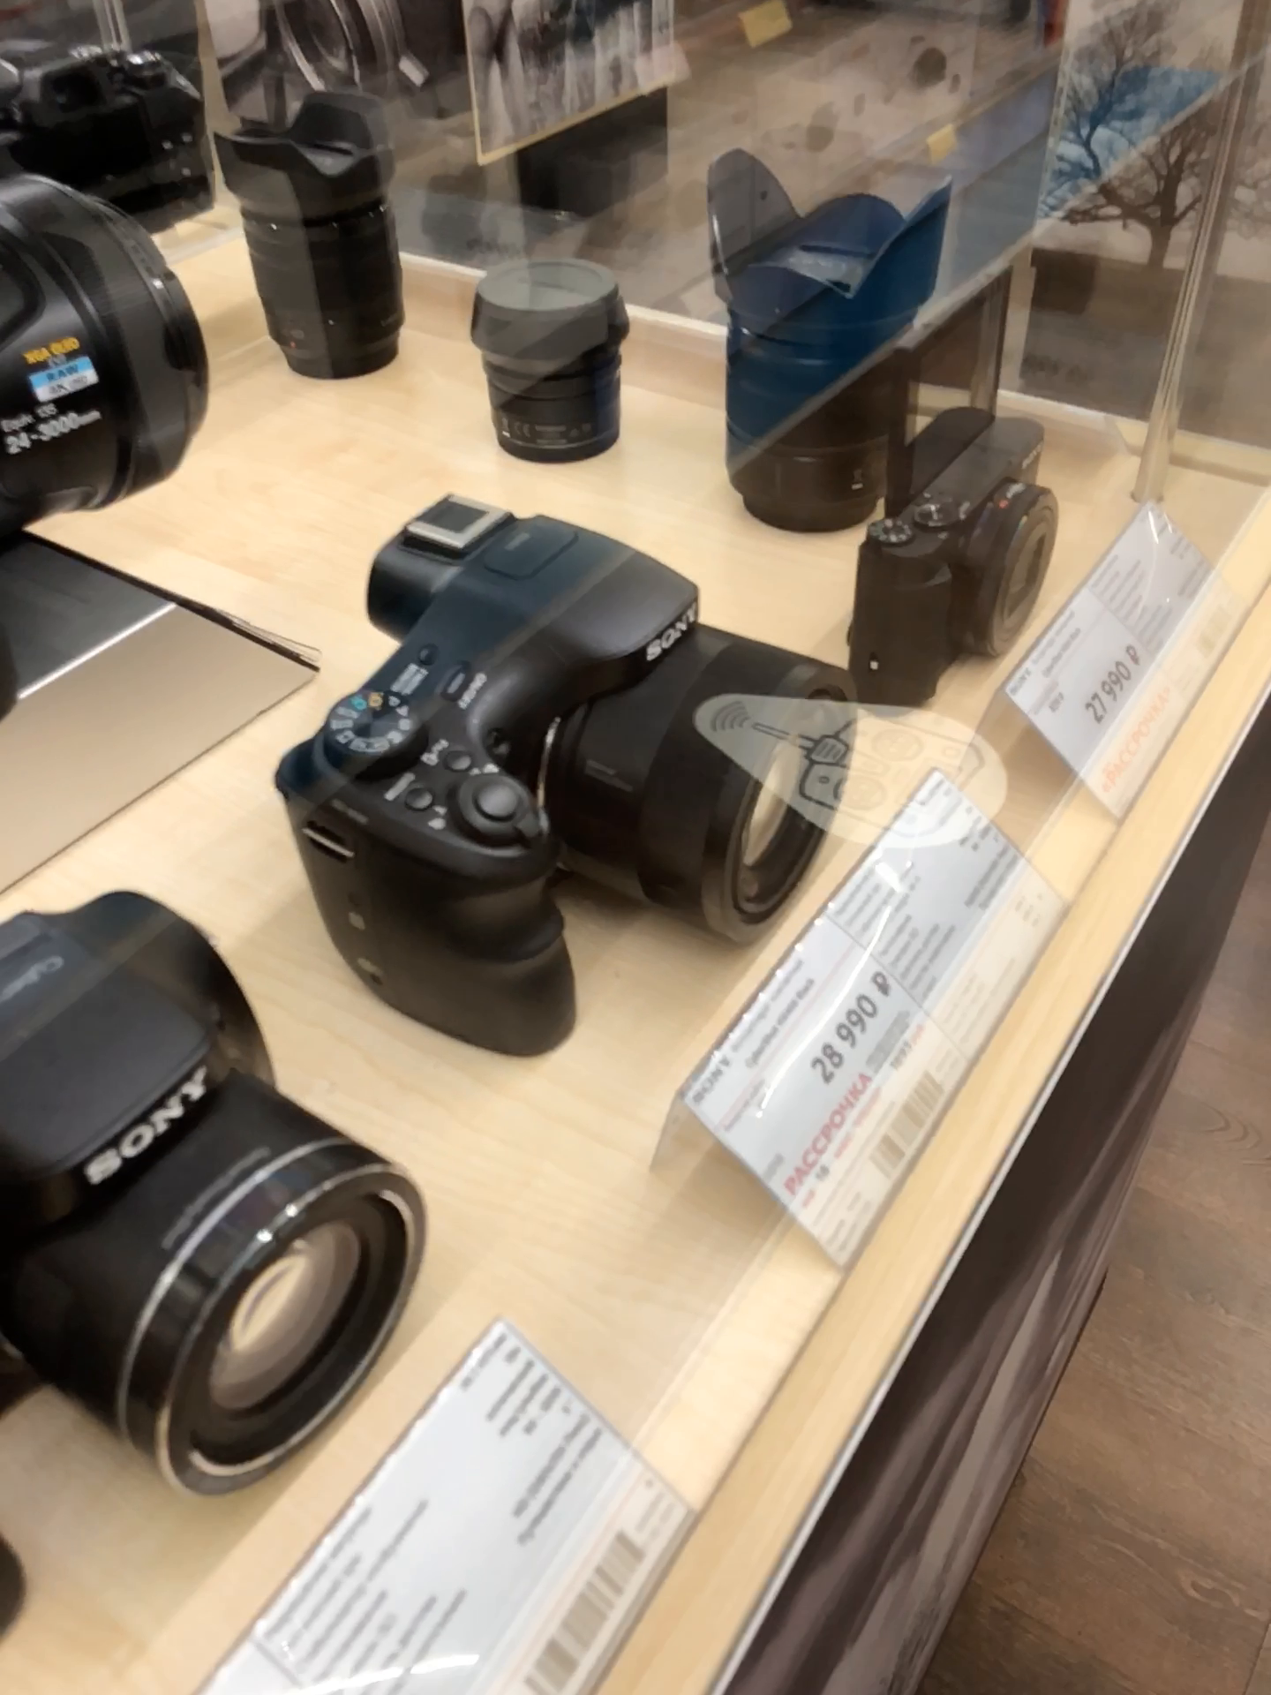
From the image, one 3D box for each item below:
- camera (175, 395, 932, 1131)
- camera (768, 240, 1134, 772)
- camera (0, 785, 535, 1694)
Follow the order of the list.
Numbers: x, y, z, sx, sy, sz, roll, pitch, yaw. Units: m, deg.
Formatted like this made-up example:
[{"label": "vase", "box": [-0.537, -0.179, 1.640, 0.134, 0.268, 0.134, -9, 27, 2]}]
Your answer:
[{"label": "camera", "box": [-0.011, -0.030, 0.331, 0.104, 0.086, 0.138, 22, 47, 25]}, {"label": "camera", "box": [0.099, -0.111, 0.443, 0.056, 0.113, 0.125, 22, 47, 25]}, {"label": "camera", "box": [-0.095, 0.066, 0.245, 0.096, 0.073, 0.122, 22, 47, 25]}]
